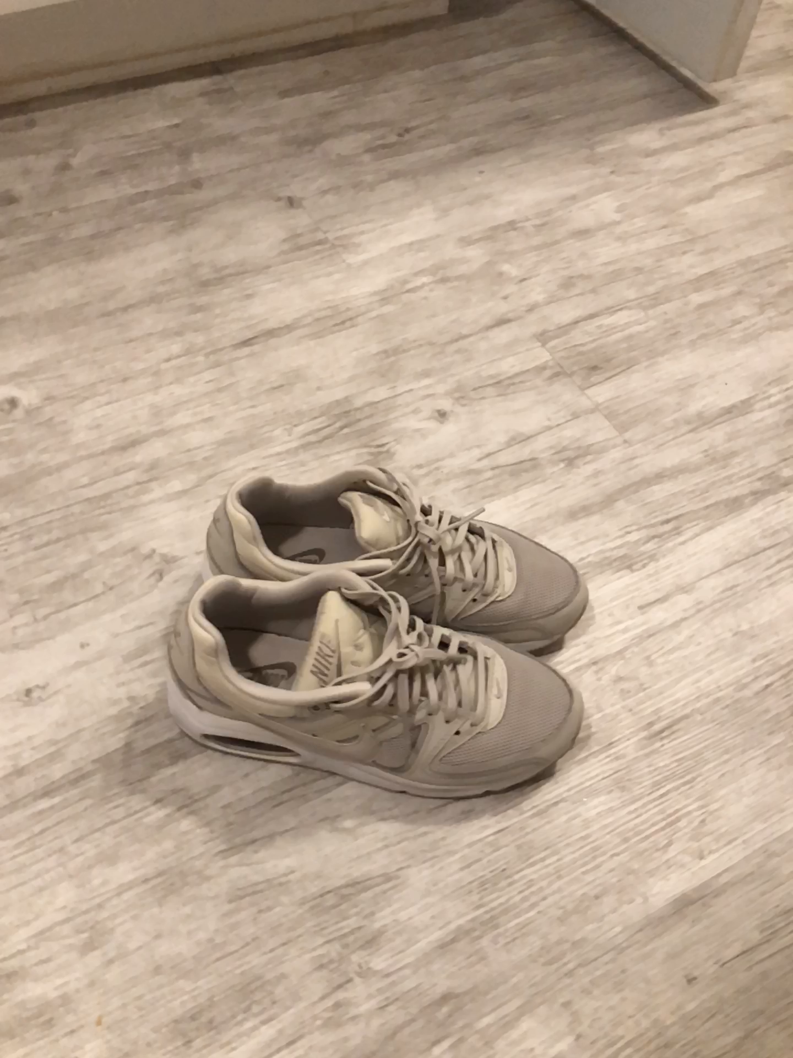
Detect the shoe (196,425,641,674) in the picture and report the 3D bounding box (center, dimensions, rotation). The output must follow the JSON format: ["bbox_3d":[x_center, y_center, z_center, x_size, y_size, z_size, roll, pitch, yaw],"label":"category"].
[{"bbox_3d":[0.012,0.016,0.568,0.250,0.120,0.100,3,55,-1],"label":"shoe"}]

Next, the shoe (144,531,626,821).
[{"bbox_3d":[-0.004,0.090,0.522,0.250,0.120,0.090,8,55,3],"label":"shoe"}]
